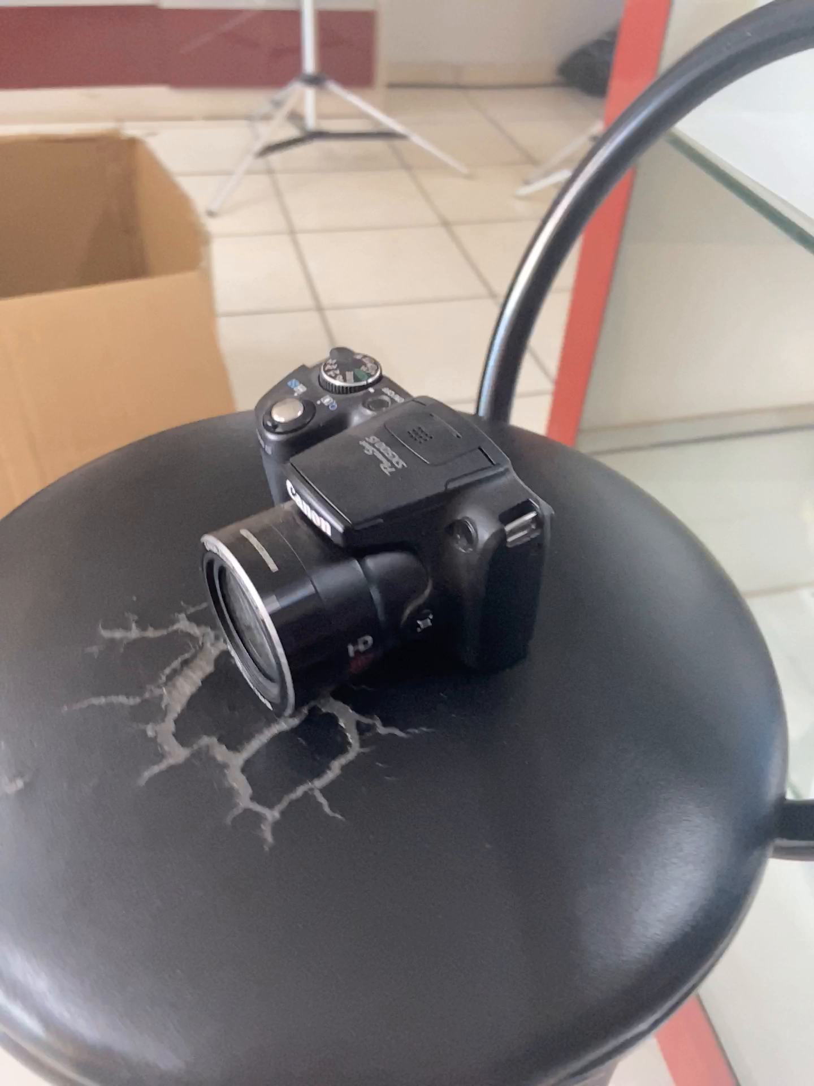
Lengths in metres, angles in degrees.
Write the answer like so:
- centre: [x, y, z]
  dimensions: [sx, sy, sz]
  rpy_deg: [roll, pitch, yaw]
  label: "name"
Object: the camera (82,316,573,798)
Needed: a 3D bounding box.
- centre: [-0.026, -0.005, 0.259]
  dimensions: [0.090, 0.070, 0.110]
  rpy_deg: [-26, 48, -29]
  label: "camera"
